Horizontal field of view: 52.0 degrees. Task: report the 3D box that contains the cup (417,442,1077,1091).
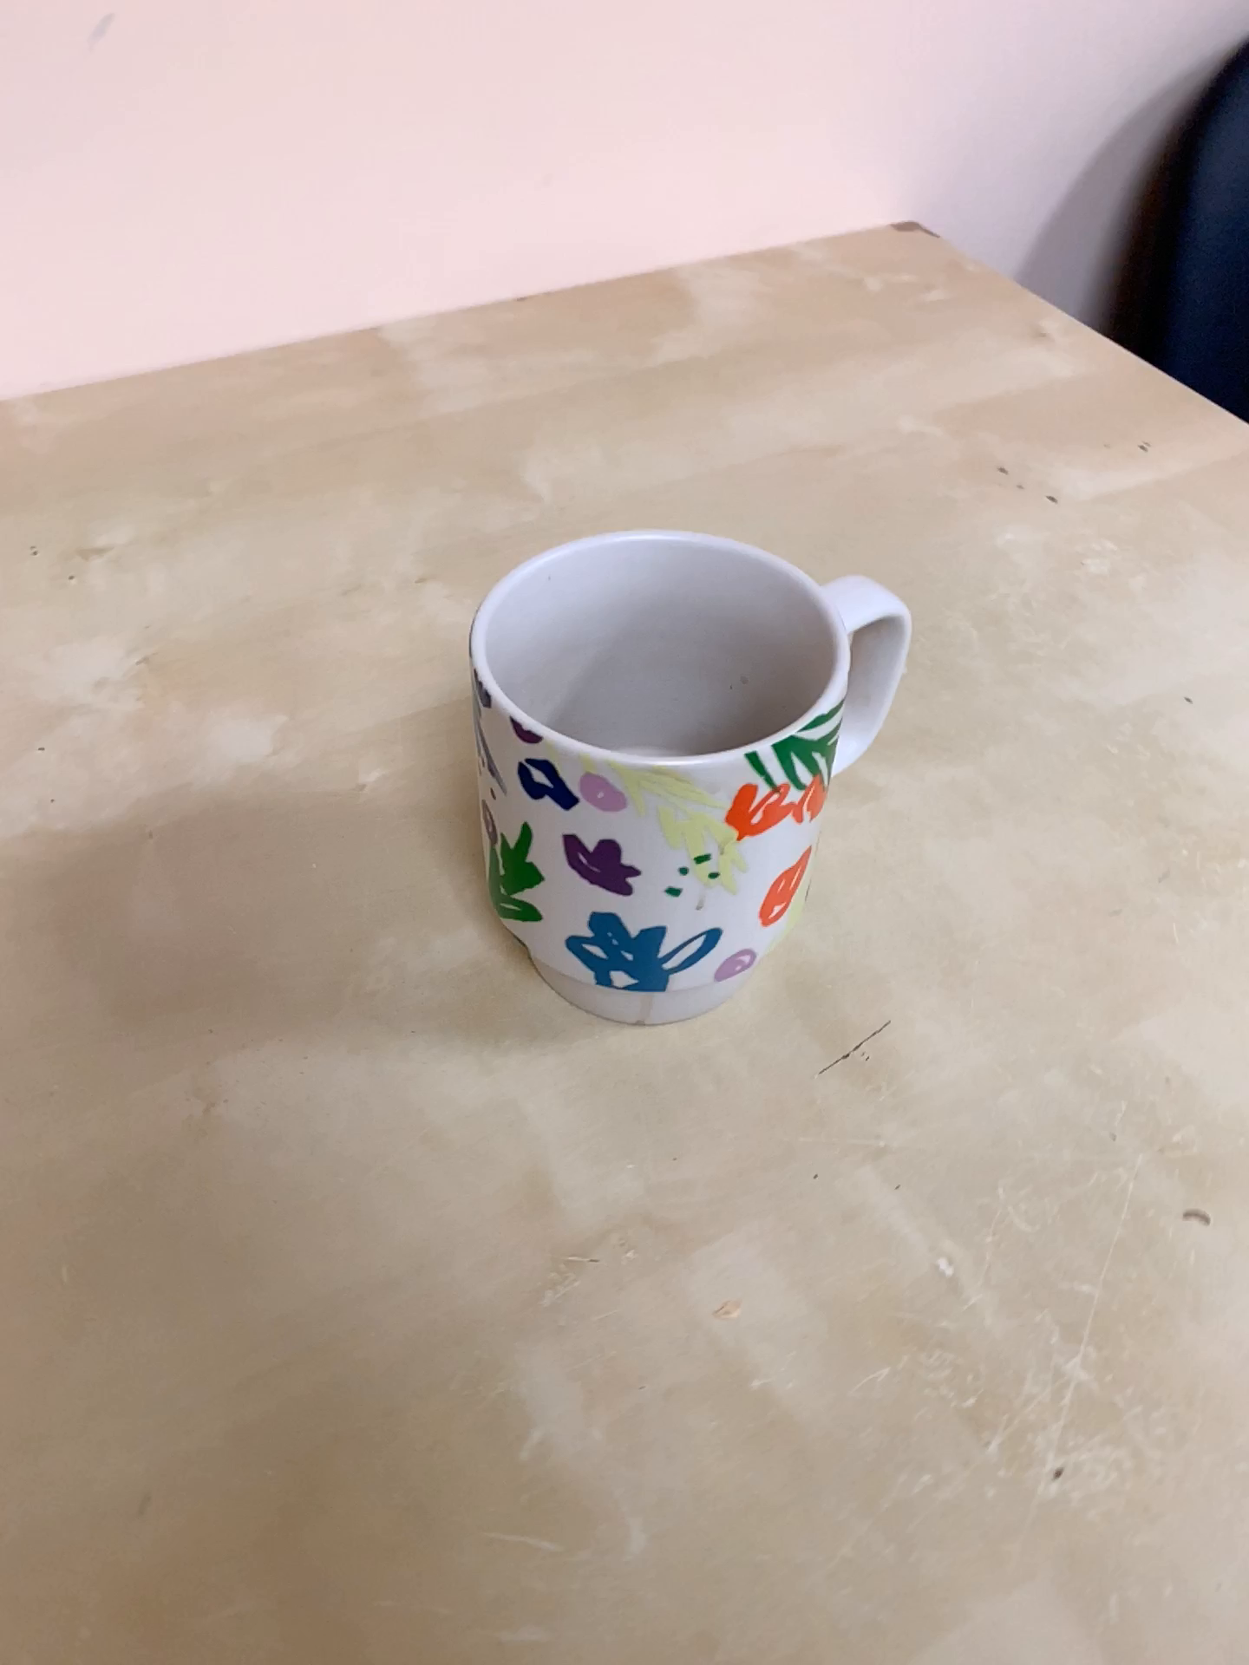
[{"bbox_3d":[0.028,-0.021,0.325,0.128,0.095,0.082,-26,53,-25],"label":"cup"}]
